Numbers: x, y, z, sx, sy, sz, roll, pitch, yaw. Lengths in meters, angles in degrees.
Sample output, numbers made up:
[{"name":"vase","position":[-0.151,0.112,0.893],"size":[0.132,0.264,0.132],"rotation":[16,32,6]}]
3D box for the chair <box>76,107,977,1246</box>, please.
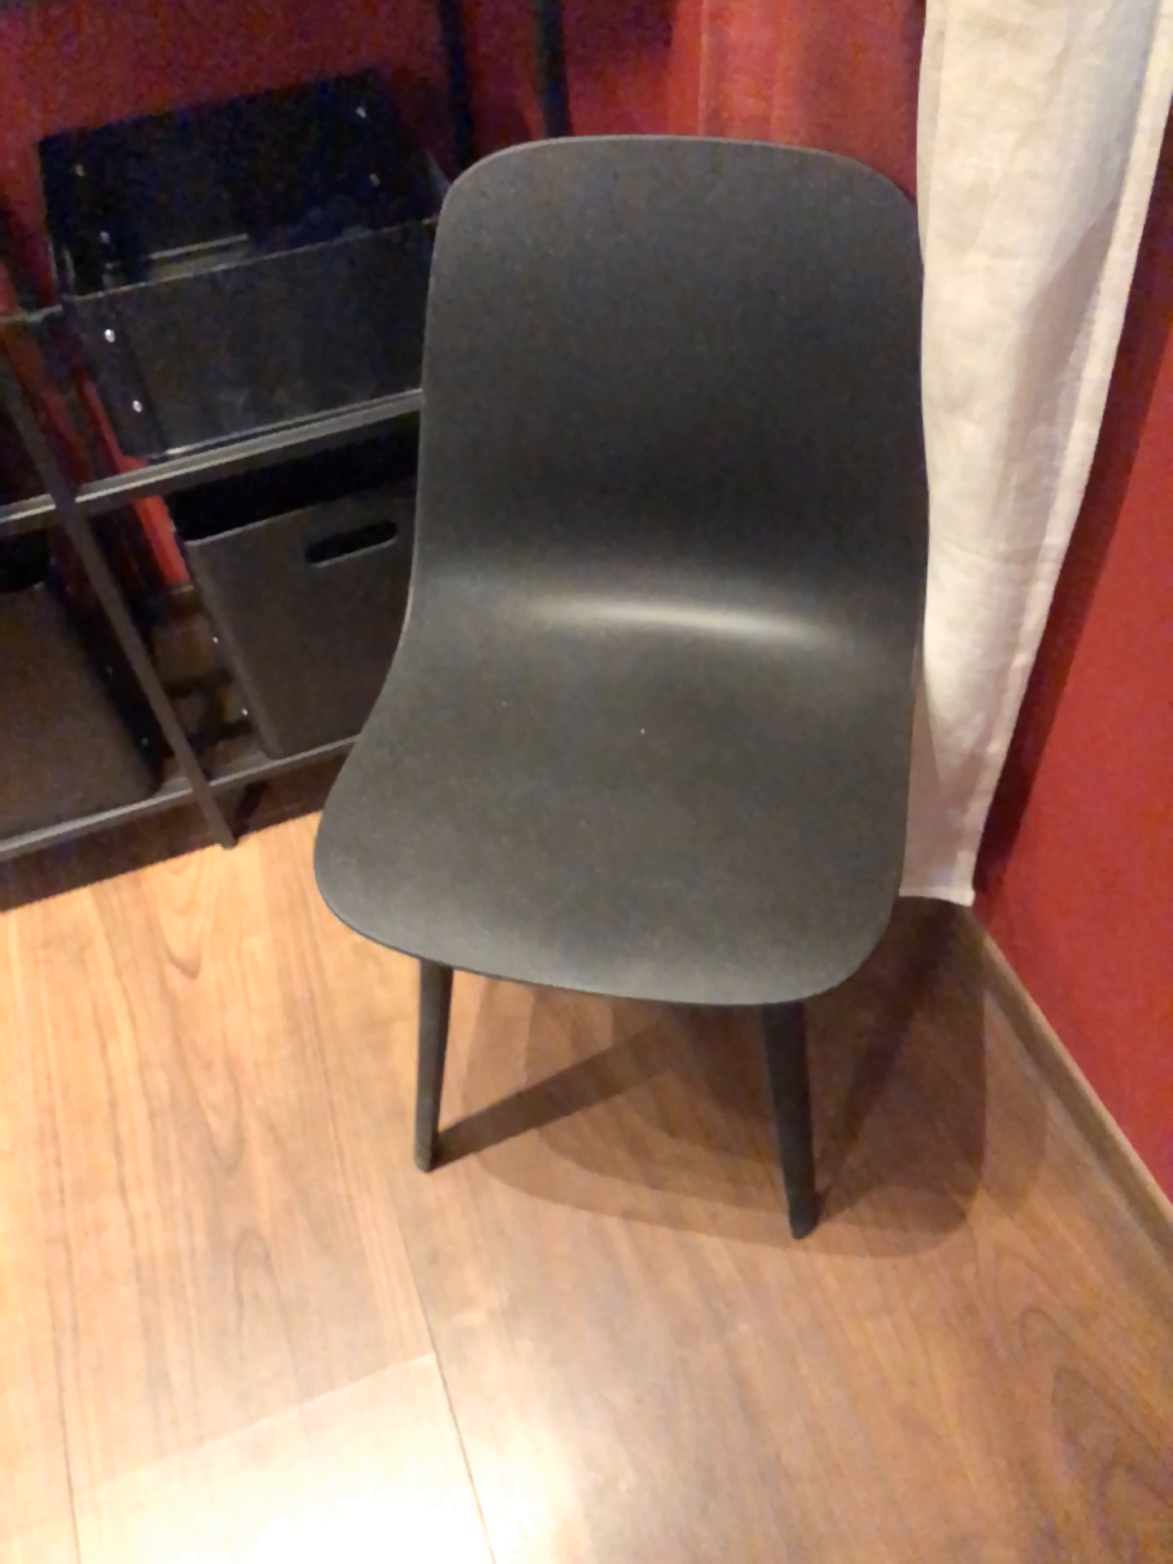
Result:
[{"name":"chair","position":[0.025,-0.038,1.013],"size":[0.410,0.726,0.483],"rotation":[7,52,10]}]
